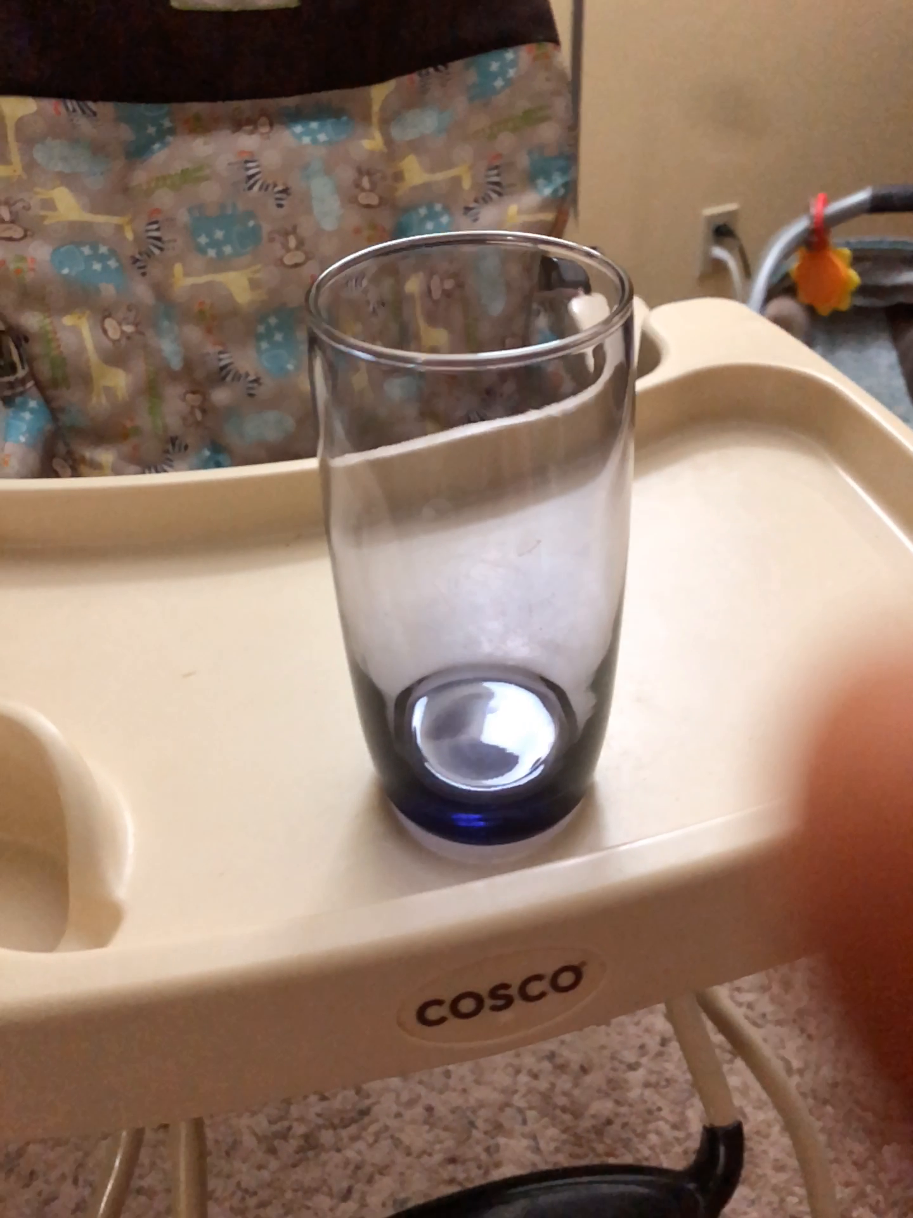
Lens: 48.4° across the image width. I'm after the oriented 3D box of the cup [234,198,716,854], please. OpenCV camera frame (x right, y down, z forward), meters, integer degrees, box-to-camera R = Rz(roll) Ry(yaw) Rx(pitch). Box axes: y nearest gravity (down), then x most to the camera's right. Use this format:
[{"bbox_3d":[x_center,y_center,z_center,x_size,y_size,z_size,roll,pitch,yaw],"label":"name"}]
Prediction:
[{"bbox_3d":[0.008,-0.017,0.250,0.083,0.134,0.085,-2,39,2],"label":"cup"}]
